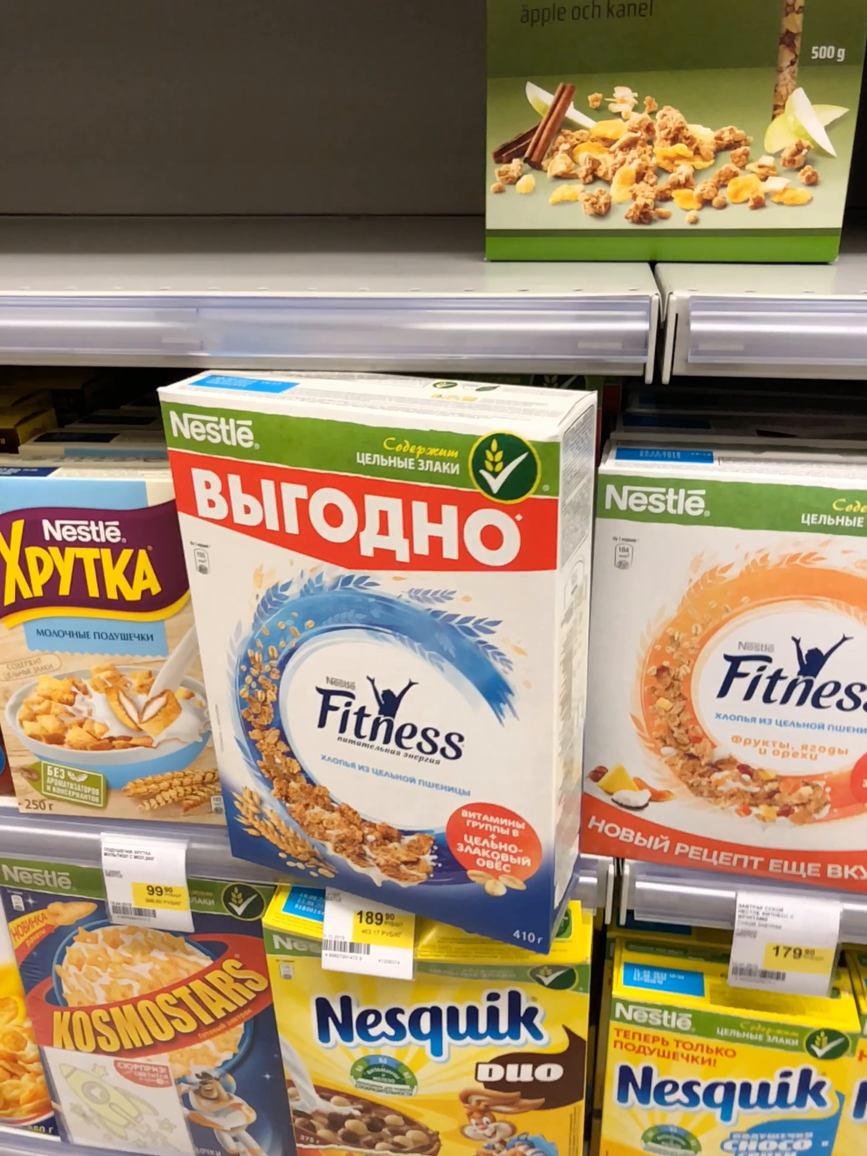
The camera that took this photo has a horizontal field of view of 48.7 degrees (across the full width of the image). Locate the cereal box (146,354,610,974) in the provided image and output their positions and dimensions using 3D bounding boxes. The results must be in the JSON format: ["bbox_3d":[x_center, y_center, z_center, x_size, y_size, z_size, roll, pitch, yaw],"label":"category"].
[{"bbox_3d":[-0.023,0.044,0.487,0.200,0.288,0.060,9,28,22],"label":"cereal box"}]
